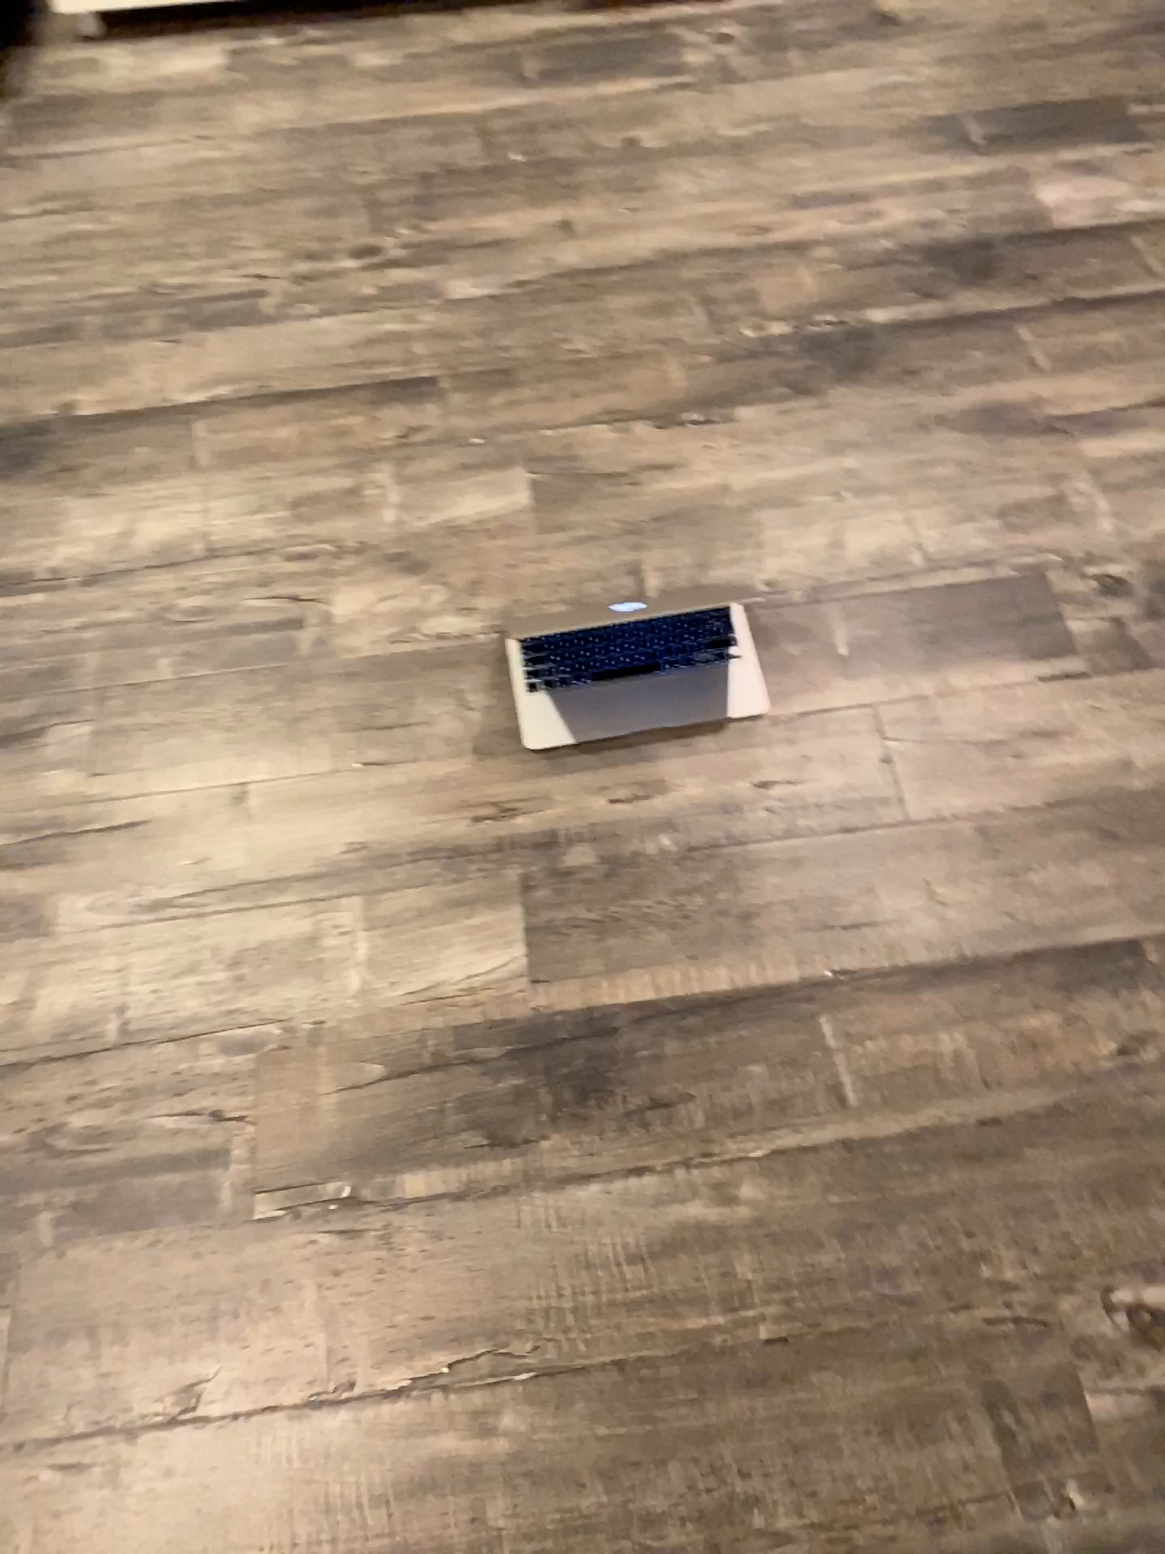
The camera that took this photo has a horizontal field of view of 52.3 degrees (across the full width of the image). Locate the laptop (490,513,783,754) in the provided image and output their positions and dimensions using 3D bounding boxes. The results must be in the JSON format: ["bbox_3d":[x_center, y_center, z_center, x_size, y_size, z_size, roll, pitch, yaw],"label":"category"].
[{"bbox_3d":[0.057,-0.167,1.379,0.292,0.132,0.193,-10,58,-3],"label":"laptop"}]
